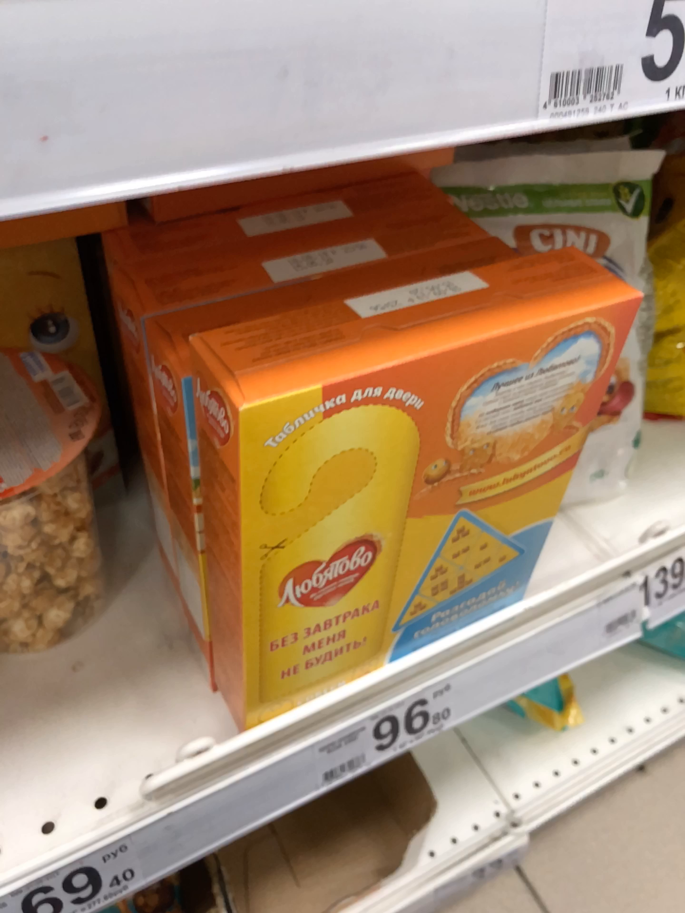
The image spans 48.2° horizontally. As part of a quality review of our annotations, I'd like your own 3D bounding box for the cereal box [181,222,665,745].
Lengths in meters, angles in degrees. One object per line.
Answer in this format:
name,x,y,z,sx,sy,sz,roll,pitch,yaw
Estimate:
cereal box,0.028,0.023,0.360,0.180,0.229,0.050,-18,49,-23
